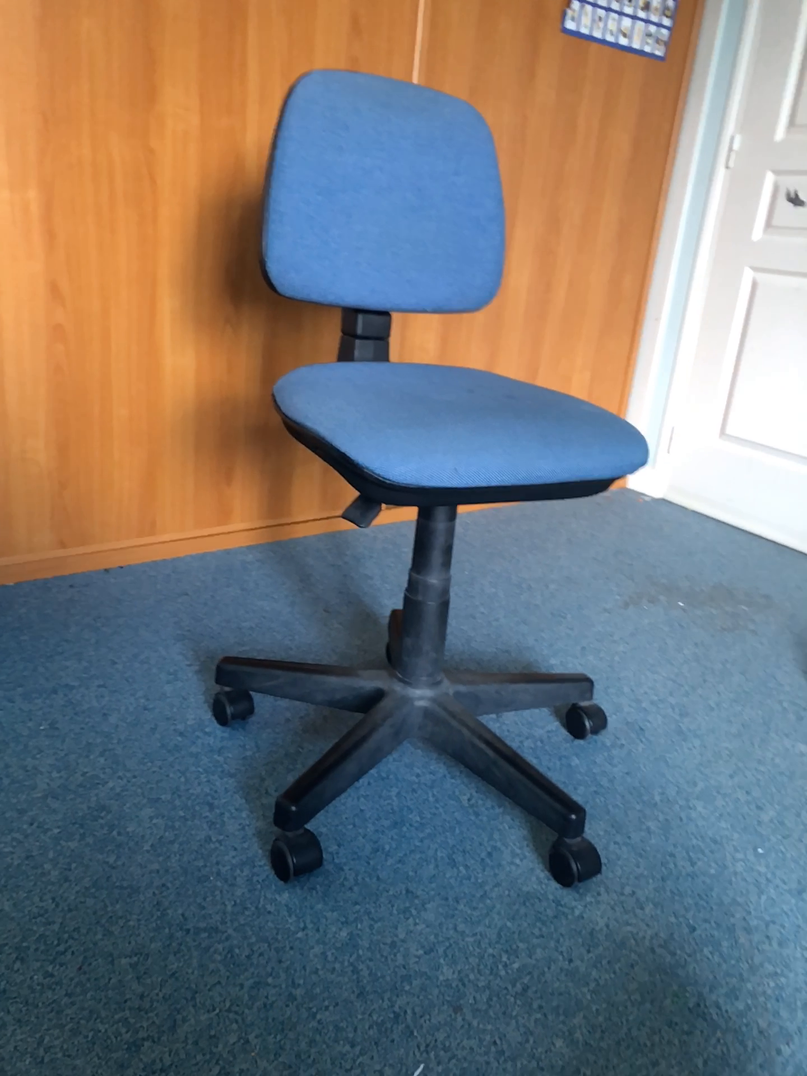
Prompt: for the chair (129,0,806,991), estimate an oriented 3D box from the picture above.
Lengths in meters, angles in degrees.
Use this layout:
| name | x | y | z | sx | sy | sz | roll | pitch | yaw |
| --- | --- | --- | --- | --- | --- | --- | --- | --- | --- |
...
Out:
| name | x | y | z | sx | sy | sz | roll | pitch | yaw |
| --- | --- | --- | --- | --- | --- | --- | --- | --- | --- |
| chair | 0.051 | -0.140 | 1.190 | 0.652 | 0.916 | 0.761 | -5 | 22 | -29 |
